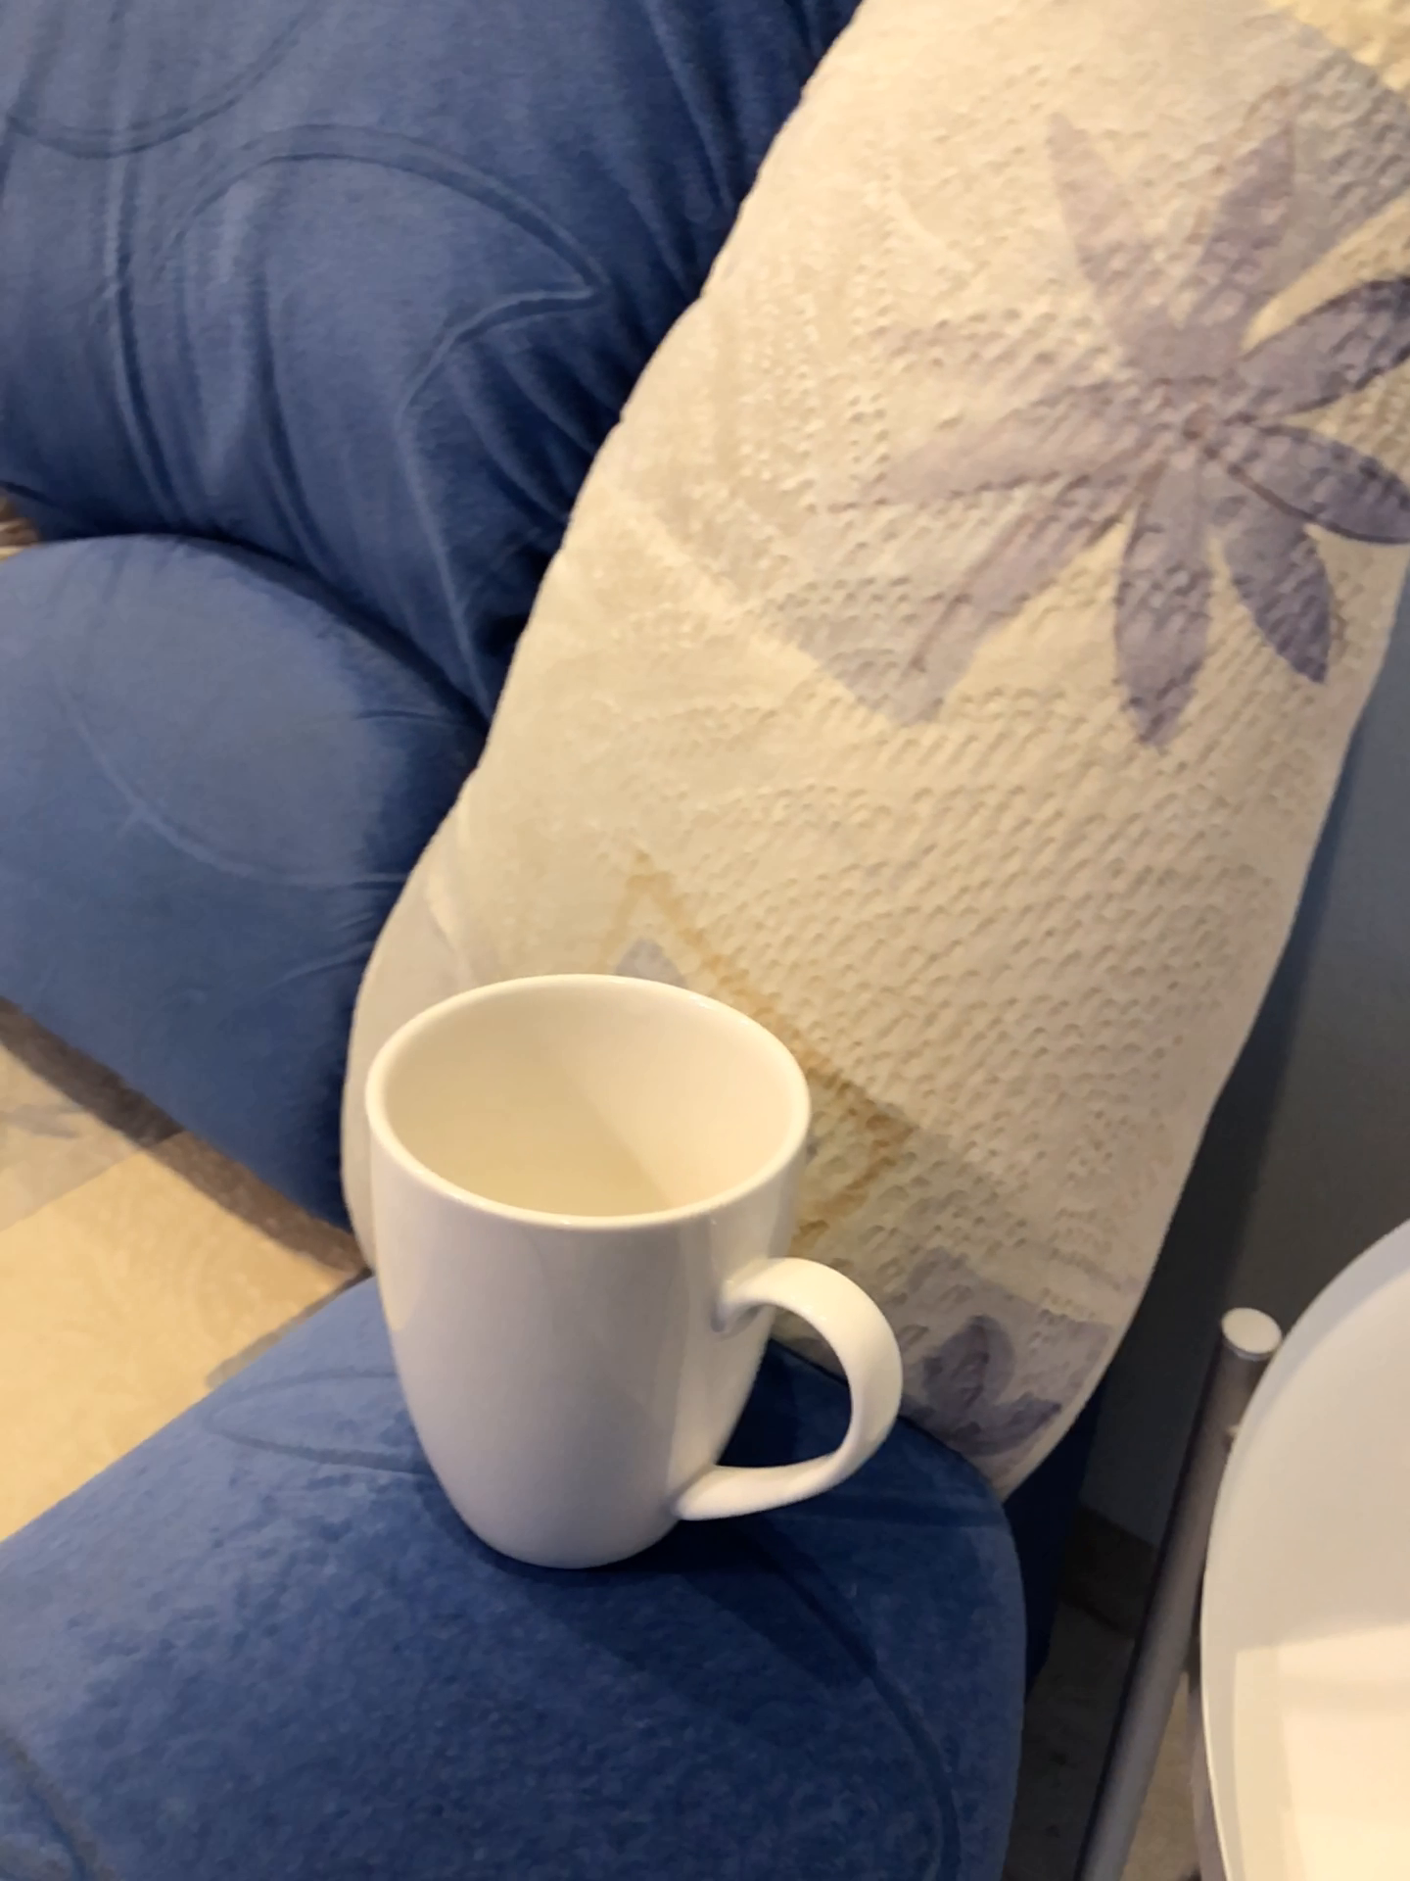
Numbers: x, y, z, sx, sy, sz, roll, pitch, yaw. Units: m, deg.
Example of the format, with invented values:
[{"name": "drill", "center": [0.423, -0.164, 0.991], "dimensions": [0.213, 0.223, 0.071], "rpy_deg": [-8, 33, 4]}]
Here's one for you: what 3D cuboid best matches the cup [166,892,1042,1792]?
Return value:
[{"name": "cup", "center": [-0.015, 0.058, 0.263], "dimensions": [0.110, 0.079, 0.080], "rpy_deg": [18, 36, 26]}]
